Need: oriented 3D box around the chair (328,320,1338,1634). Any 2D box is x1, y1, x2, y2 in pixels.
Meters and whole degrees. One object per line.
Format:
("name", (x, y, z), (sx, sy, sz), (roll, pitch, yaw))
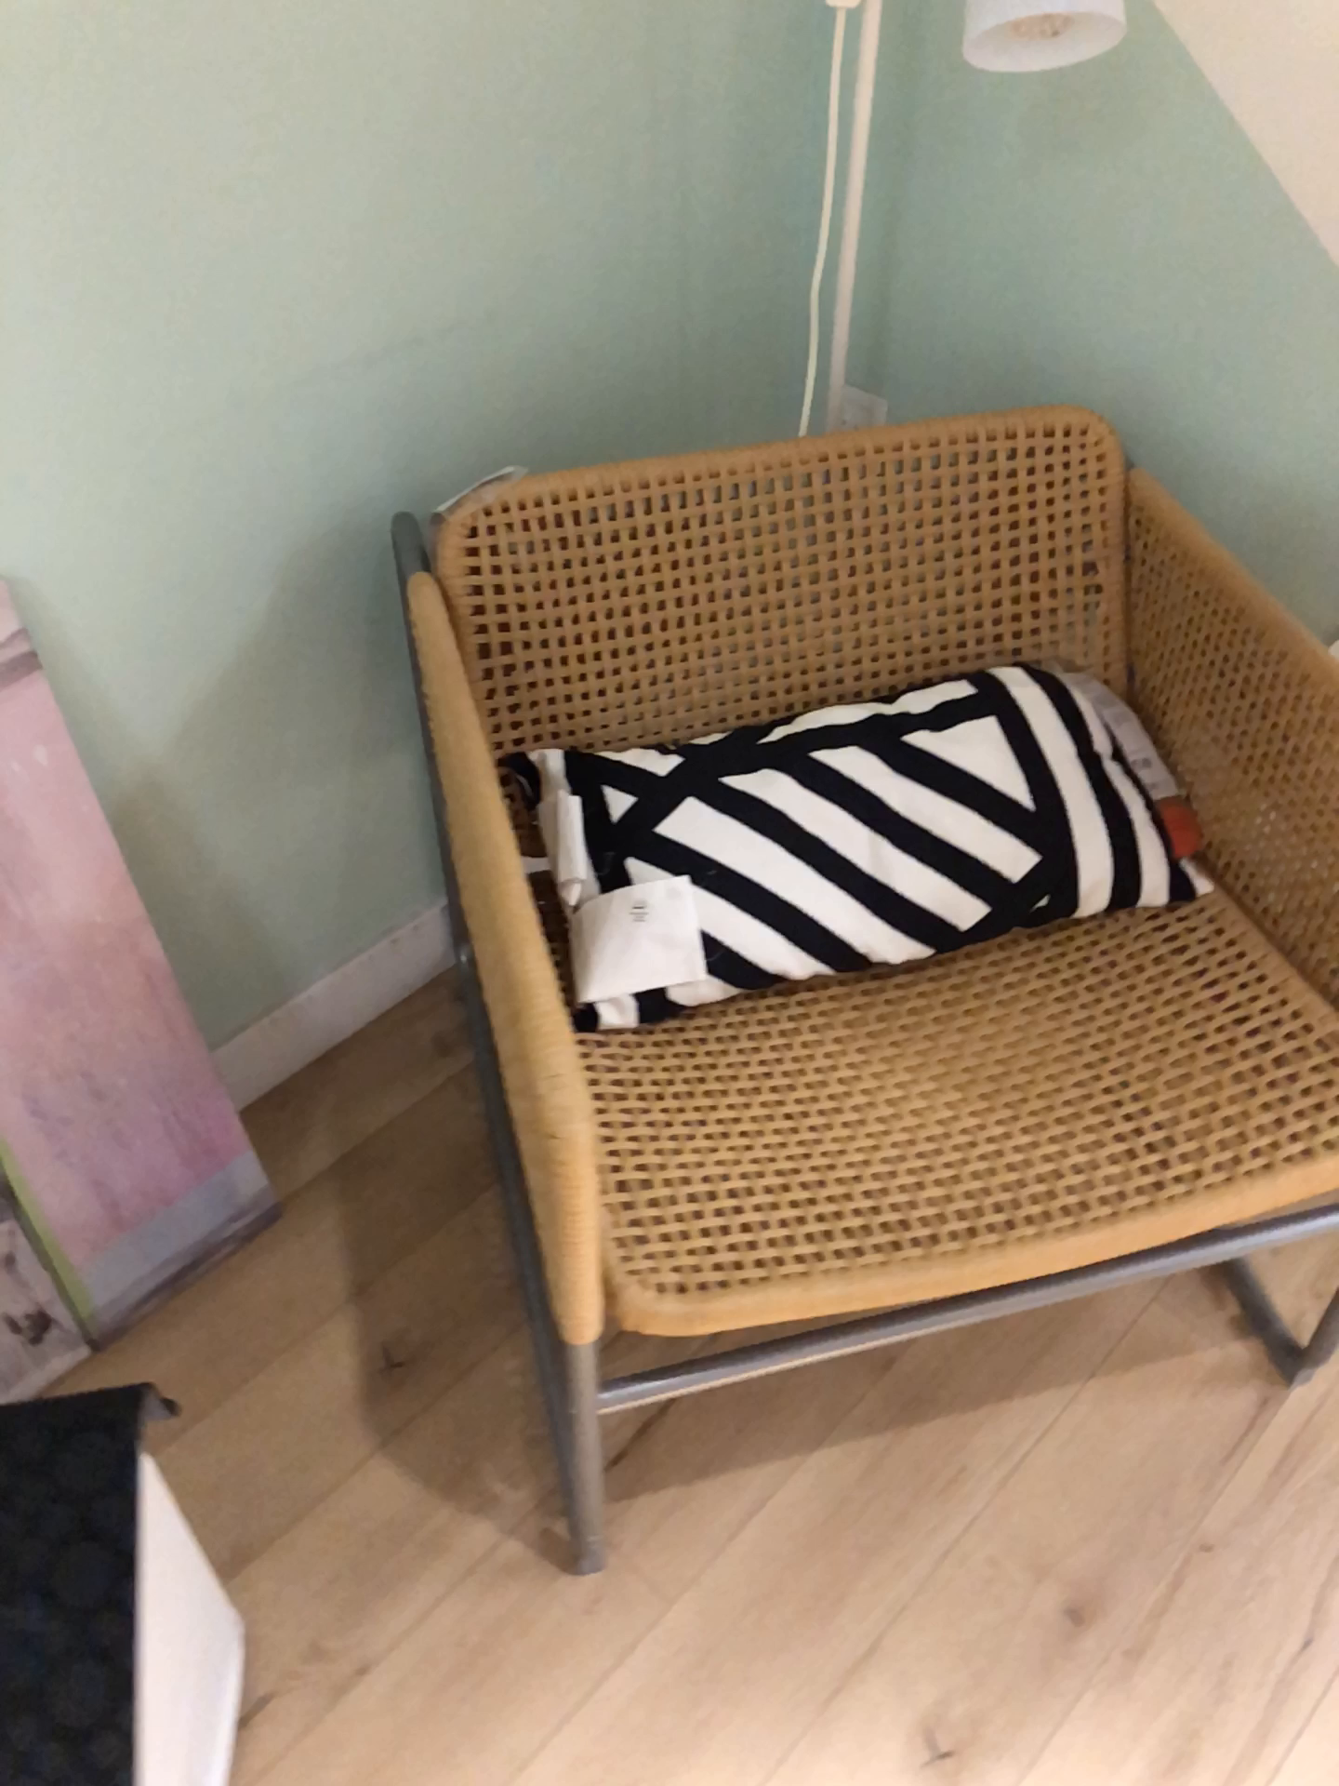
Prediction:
("chair", (0.197, 0.017, 1.251), (0.790, 0.628, 0.753), (-11, 44, -11))
